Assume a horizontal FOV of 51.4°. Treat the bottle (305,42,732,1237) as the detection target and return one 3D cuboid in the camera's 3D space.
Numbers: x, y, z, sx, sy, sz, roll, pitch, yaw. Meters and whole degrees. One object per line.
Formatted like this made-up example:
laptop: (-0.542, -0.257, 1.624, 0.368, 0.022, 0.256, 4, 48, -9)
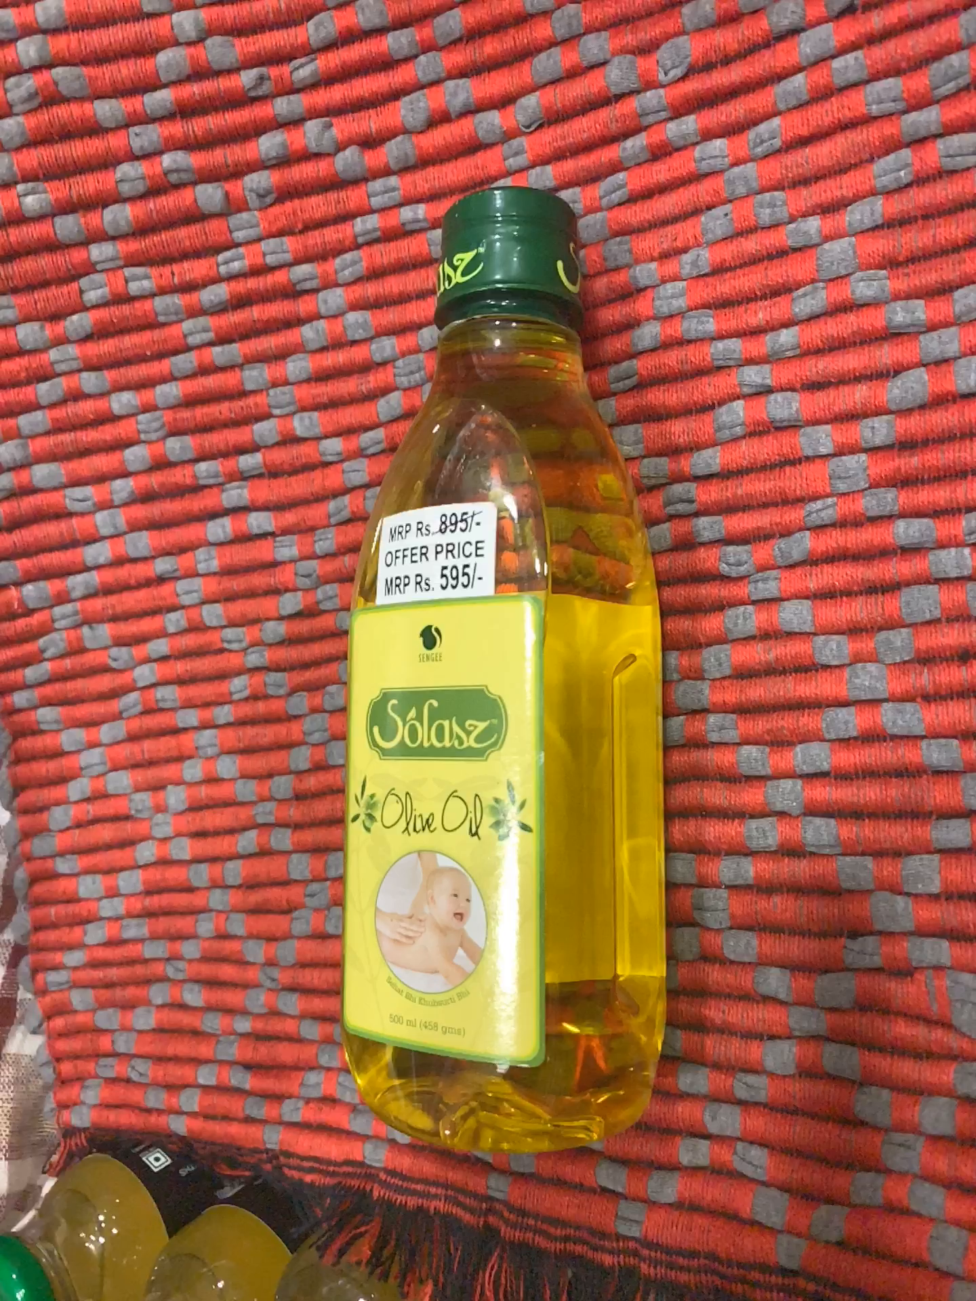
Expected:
bottle: (0.010, -0.005, 0.229, 0.070, 0.060, 0.220, -3, 82, 34)
